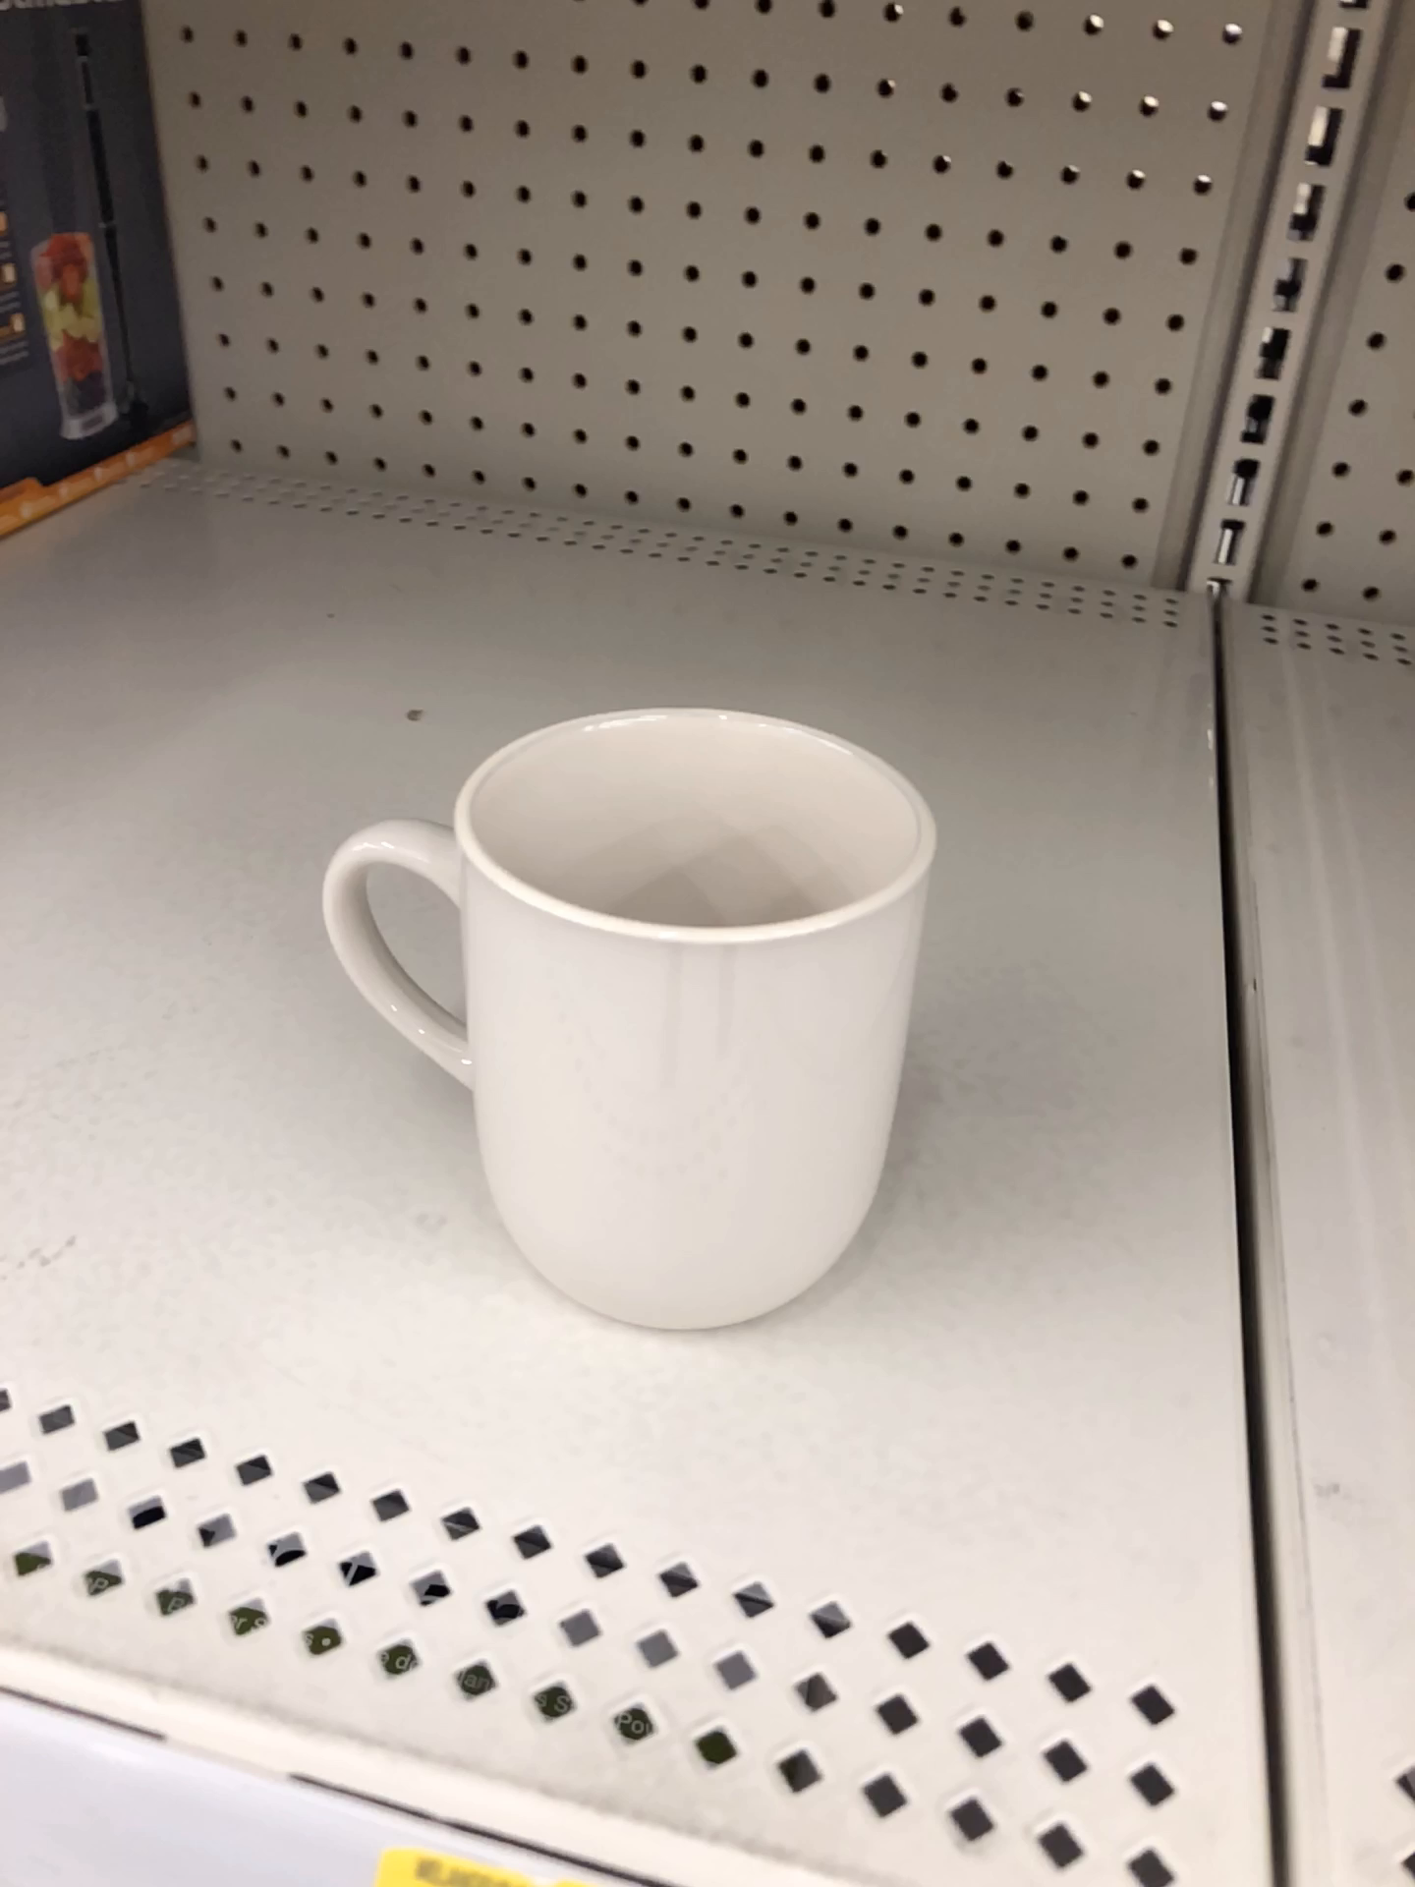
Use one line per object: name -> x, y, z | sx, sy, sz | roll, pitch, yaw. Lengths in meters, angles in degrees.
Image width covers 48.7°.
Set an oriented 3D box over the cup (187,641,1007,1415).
cup -> -0.018, 0.009, 0.303 | 0.121, 0.090, 0.087 | 14, 33, 17
